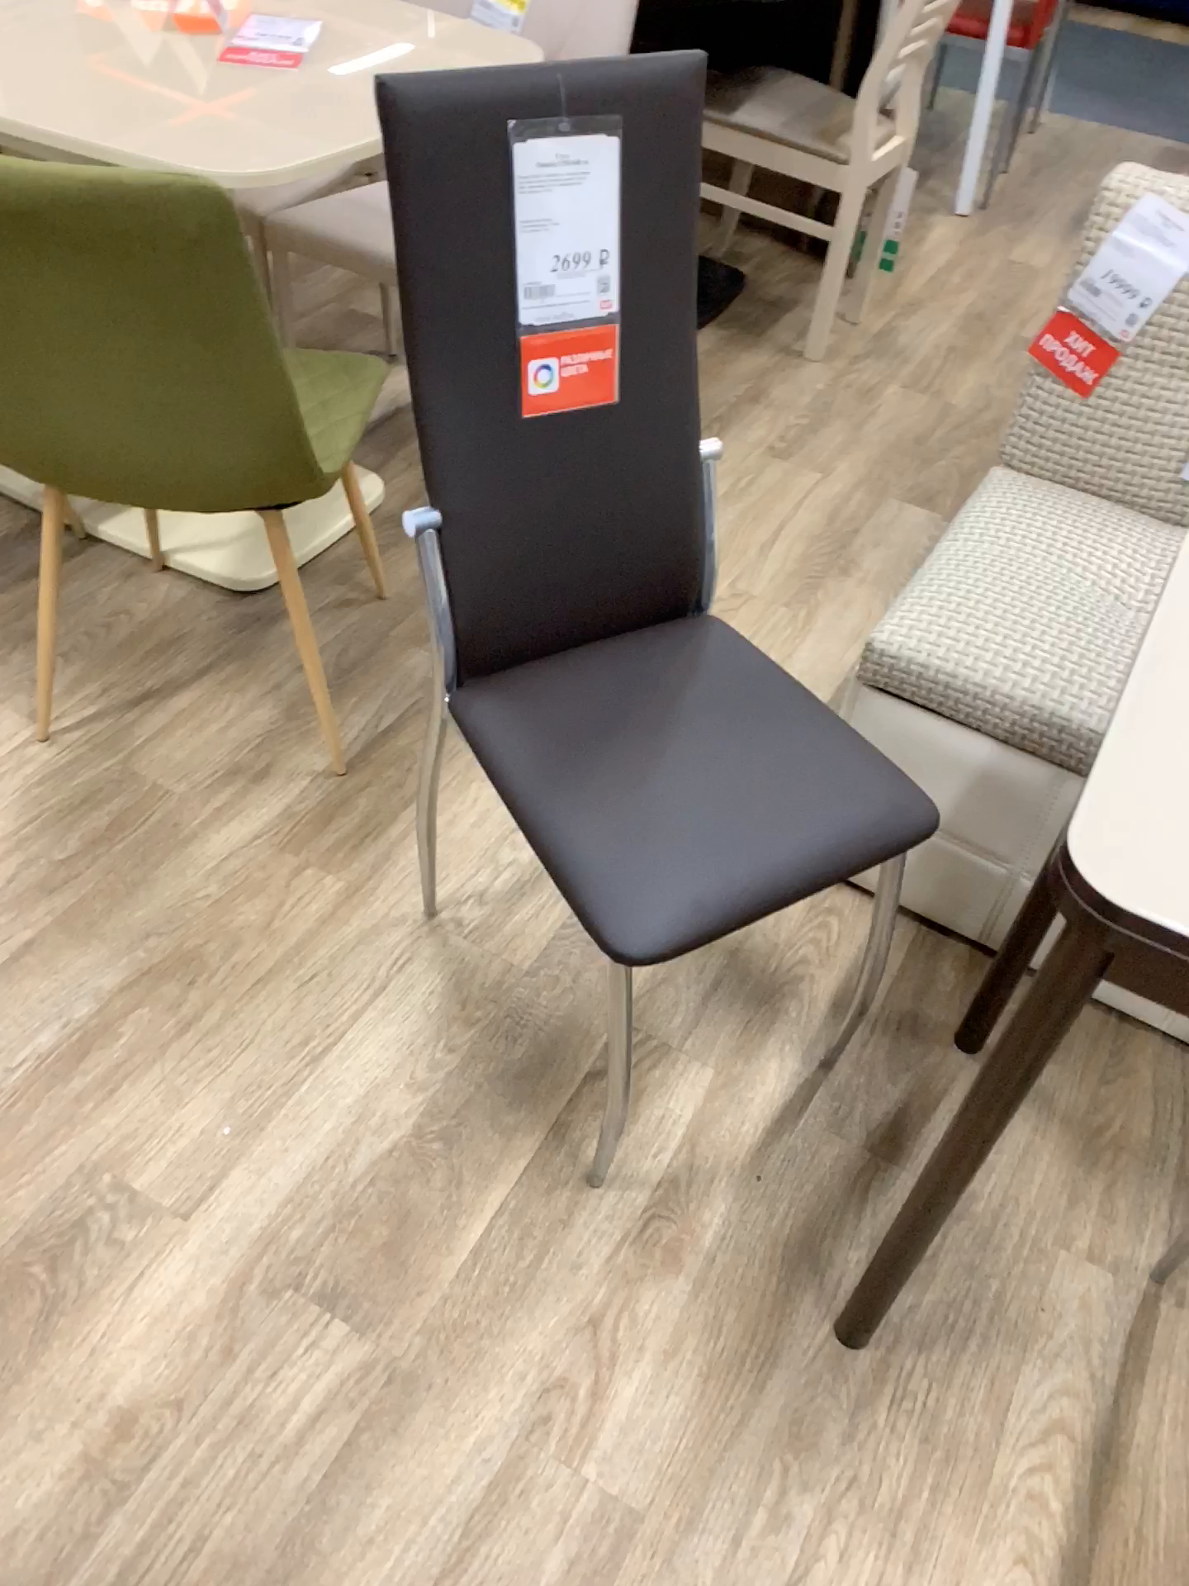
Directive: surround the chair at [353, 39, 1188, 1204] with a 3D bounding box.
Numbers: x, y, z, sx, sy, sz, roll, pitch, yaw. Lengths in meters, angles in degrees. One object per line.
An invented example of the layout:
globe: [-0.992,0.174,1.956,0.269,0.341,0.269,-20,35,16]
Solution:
chair: [0.076,-0.116,1.228,0.421,0.995,0.502,-19,50,-23]
